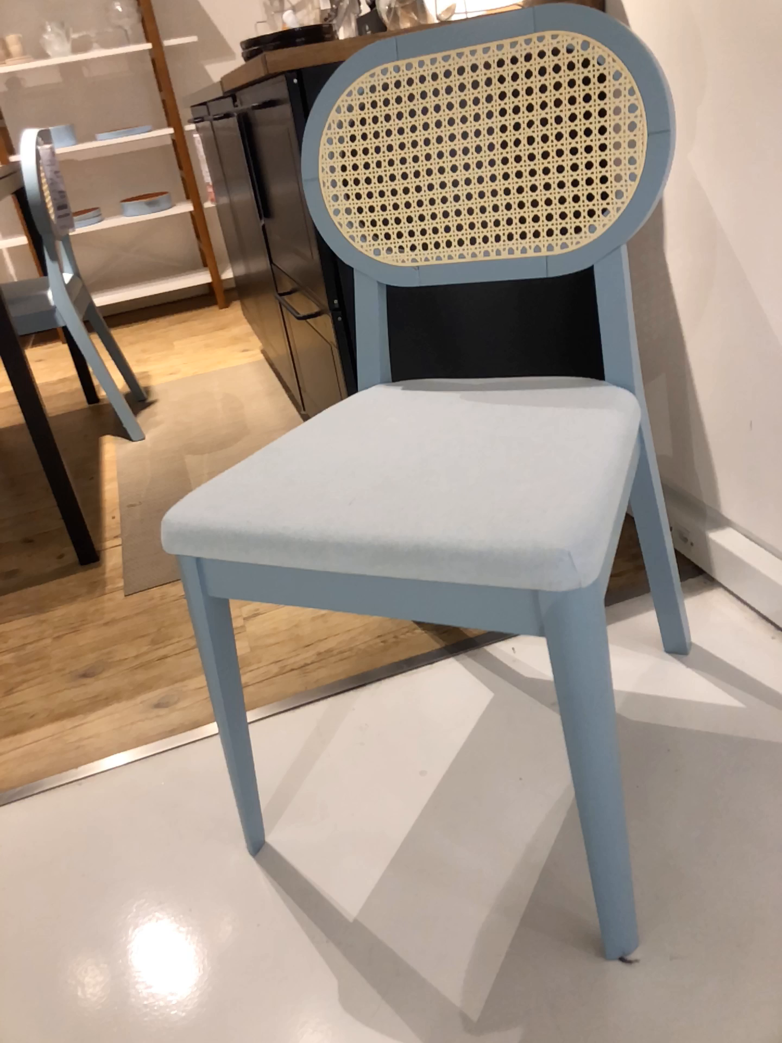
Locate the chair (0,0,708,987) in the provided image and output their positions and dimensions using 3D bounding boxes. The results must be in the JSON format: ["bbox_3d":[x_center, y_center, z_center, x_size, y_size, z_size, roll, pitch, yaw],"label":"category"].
[{"bbox_3d":[0.056,-0.078,0.949,0.481,0.824,0.563,4,30,27],"label":"chair"}]
